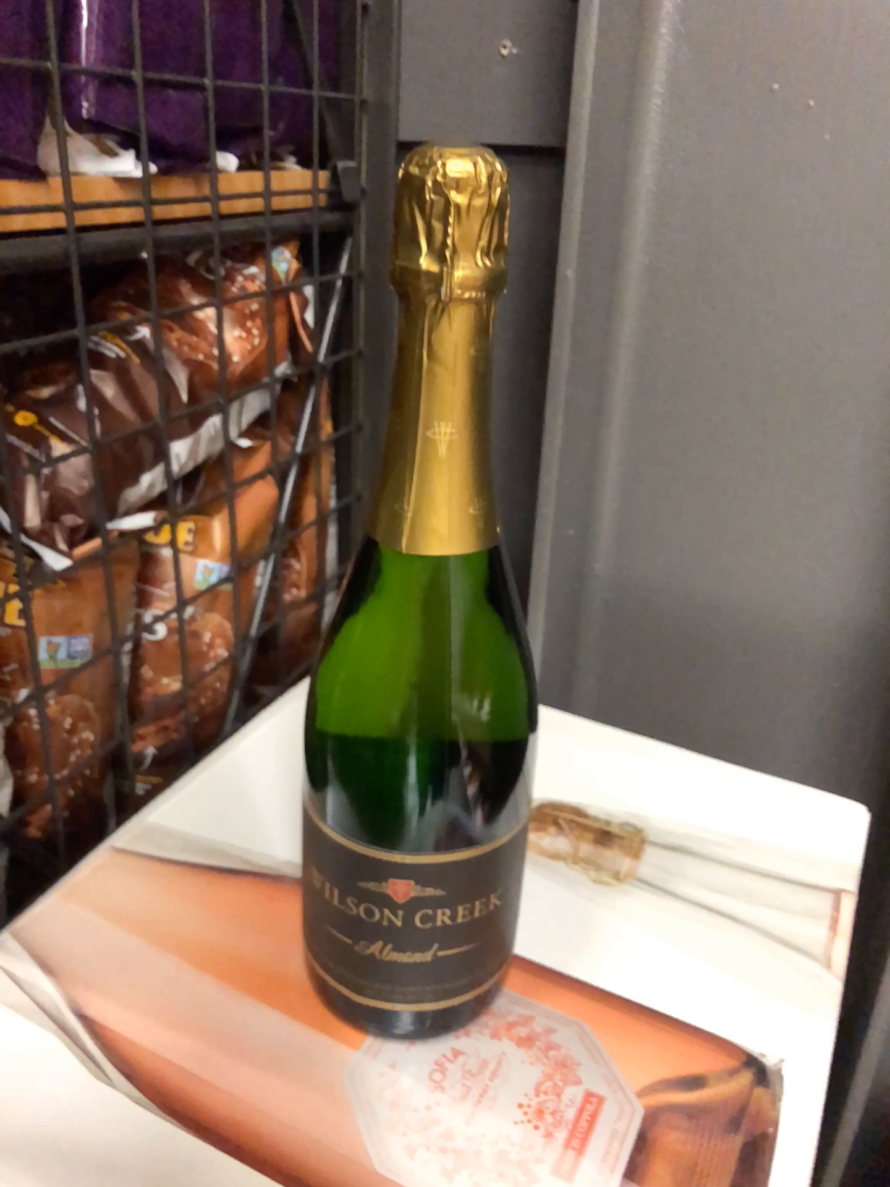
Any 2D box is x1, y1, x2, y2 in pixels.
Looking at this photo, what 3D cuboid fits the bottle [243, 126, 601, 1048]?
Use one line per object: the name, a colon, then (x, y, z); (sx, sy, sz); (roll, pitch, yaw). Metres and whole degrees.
bottle: (-0.010, 0.008, 0.351); (0.090, 0.309, 0.090); (2, 24, -1)
